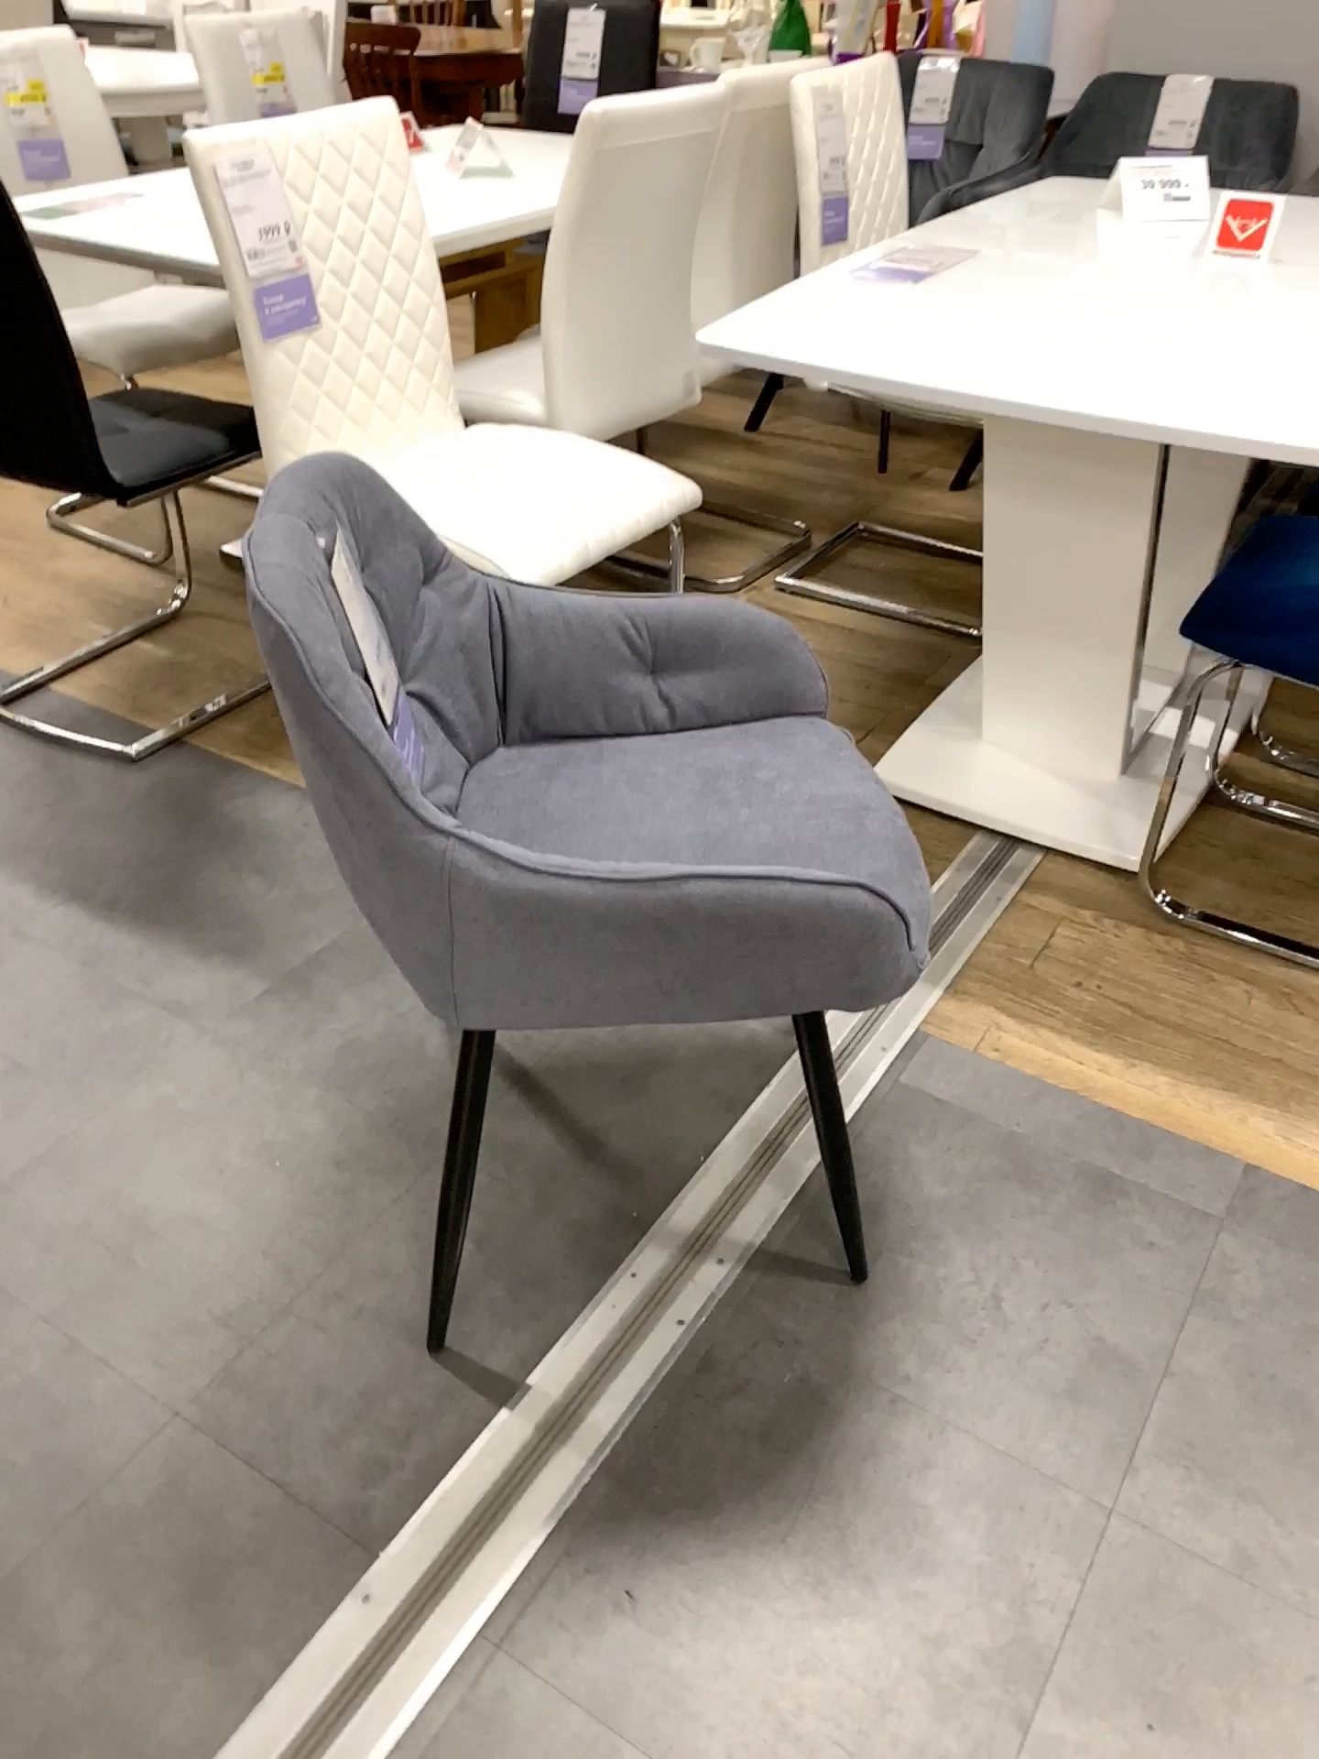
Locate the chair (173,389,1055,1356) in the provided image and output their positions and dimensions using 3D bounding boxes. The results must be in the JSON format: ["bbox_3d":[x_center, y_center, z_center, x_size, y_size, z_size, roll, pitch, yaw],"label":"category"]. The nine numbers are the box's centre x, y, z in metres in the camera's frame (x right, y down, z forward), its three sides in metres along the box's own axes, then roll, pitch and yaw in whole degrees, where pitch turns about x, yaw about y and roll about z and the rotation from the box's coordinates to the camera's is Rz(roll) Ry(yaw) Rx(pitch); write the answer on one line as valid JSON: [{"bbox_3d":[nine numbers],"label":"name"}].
[{"bbox_3d":[-0.043,-0.014,1.355,0.590,0.776,0.563,-1,35,-3],"label":"chair"}]
